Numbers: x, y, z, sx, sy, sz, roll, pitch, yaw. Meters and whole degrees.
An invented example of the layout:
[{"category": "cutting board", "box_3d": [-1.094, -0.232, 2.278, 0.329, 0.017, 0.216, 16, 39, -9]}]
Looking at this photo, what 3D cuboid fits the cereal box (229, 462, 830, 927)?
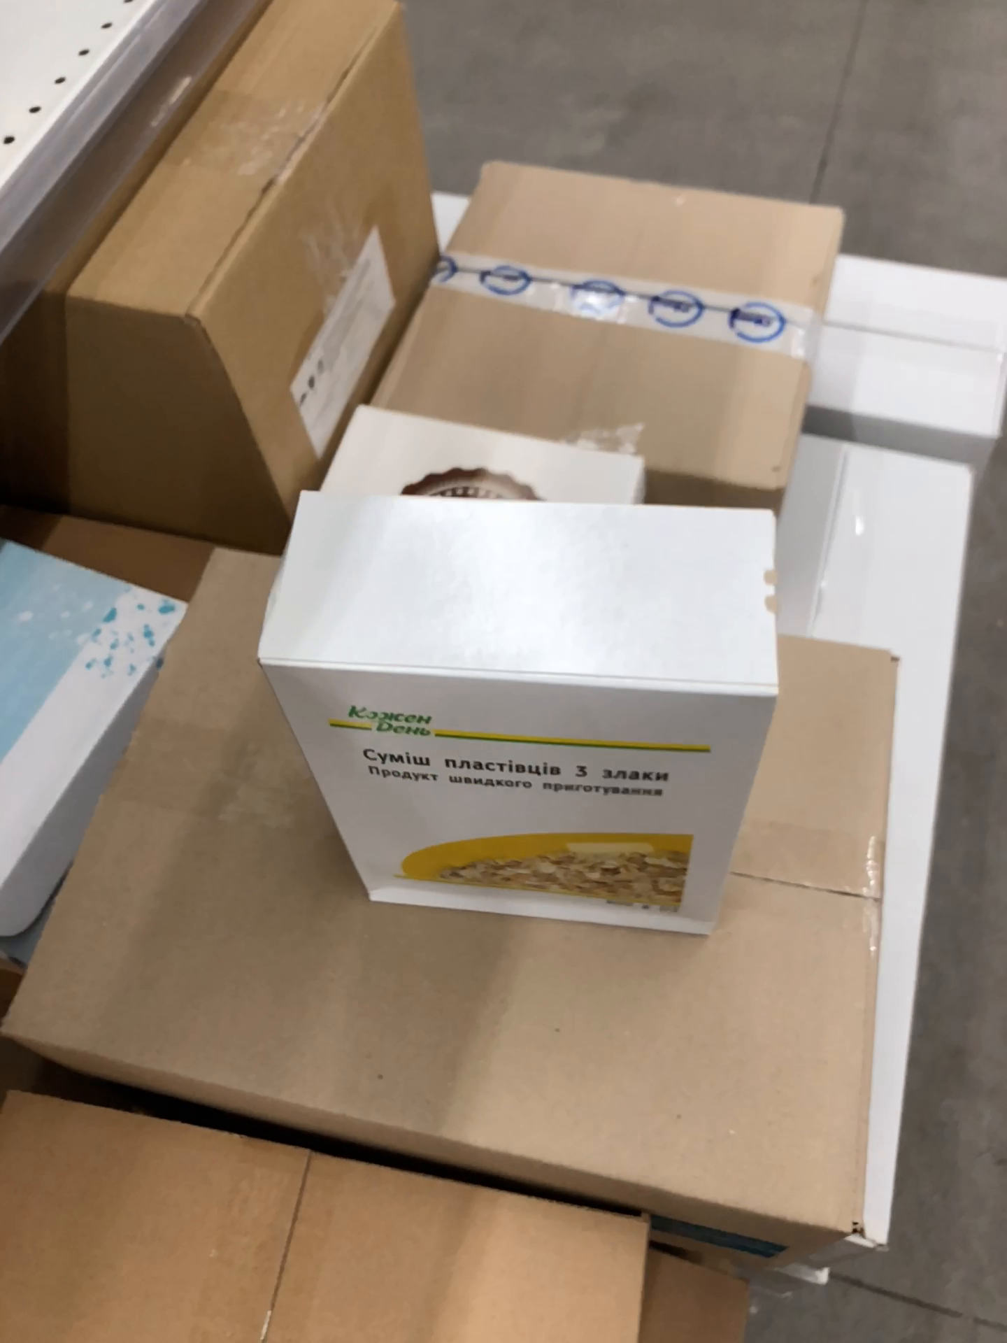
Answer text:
[{"category": "cereal box", "box_3d": [0.014, 0.022, 0.422, 0.170, 0.209, 0.070, 4, 59, 6]}]
